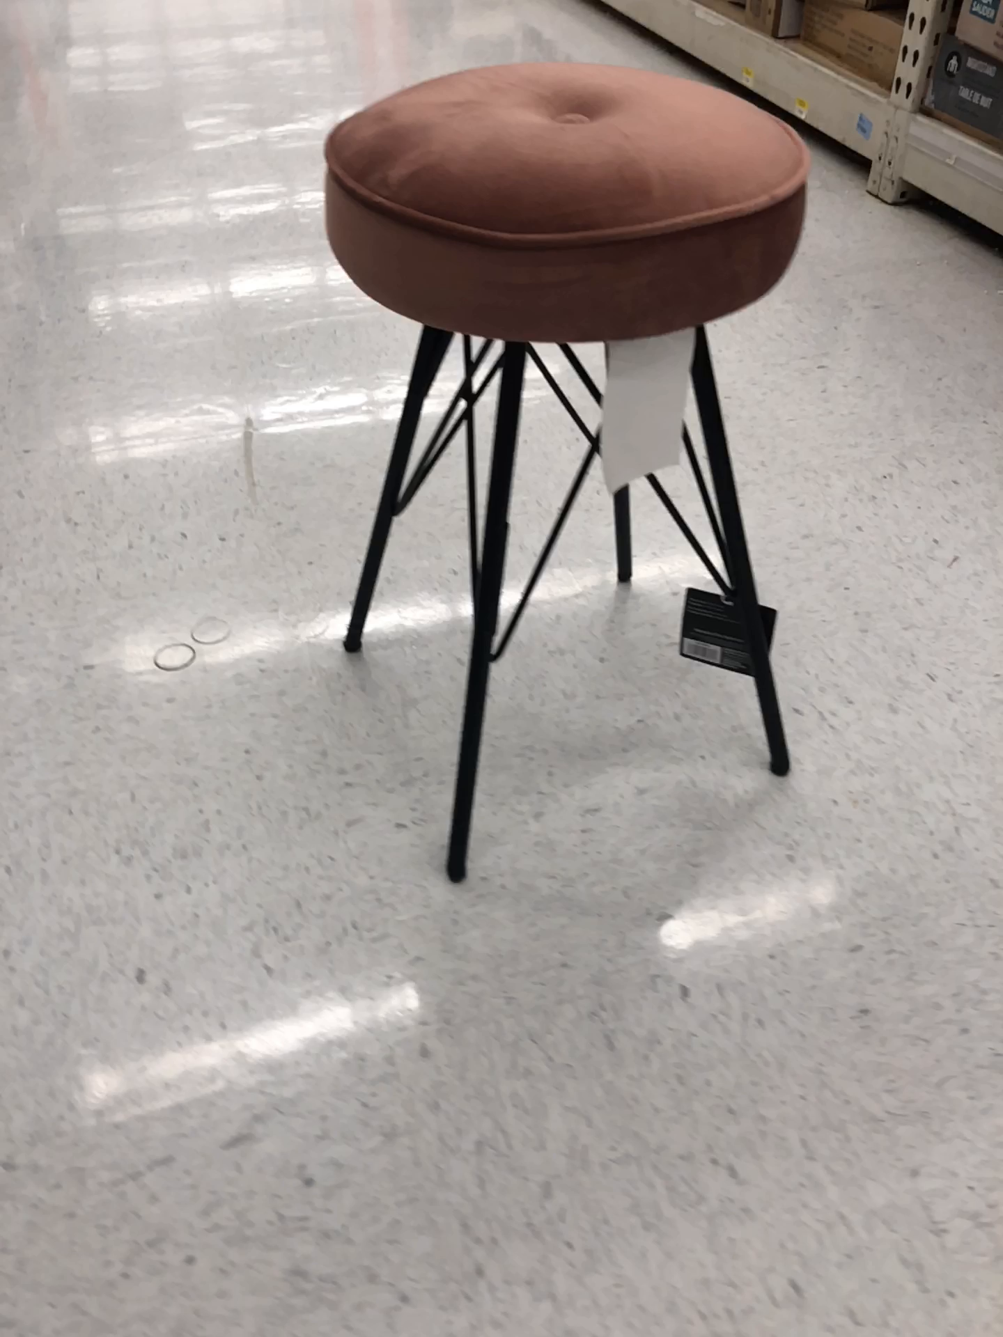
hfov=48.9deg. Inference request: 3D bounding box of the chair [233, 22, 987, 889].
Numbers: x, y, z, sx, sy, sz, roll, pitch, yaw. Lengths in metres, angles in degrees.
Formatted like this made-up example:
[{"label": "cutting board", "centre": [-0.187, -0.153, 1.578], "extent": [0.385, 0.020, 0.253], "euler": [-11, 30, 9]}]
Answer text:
[{"label": "chair", "centre": [0.046, -0.169, 0.861], "extent": [0.360, 0.498, 0.351], "euler": [-15, 43, -15]}]
